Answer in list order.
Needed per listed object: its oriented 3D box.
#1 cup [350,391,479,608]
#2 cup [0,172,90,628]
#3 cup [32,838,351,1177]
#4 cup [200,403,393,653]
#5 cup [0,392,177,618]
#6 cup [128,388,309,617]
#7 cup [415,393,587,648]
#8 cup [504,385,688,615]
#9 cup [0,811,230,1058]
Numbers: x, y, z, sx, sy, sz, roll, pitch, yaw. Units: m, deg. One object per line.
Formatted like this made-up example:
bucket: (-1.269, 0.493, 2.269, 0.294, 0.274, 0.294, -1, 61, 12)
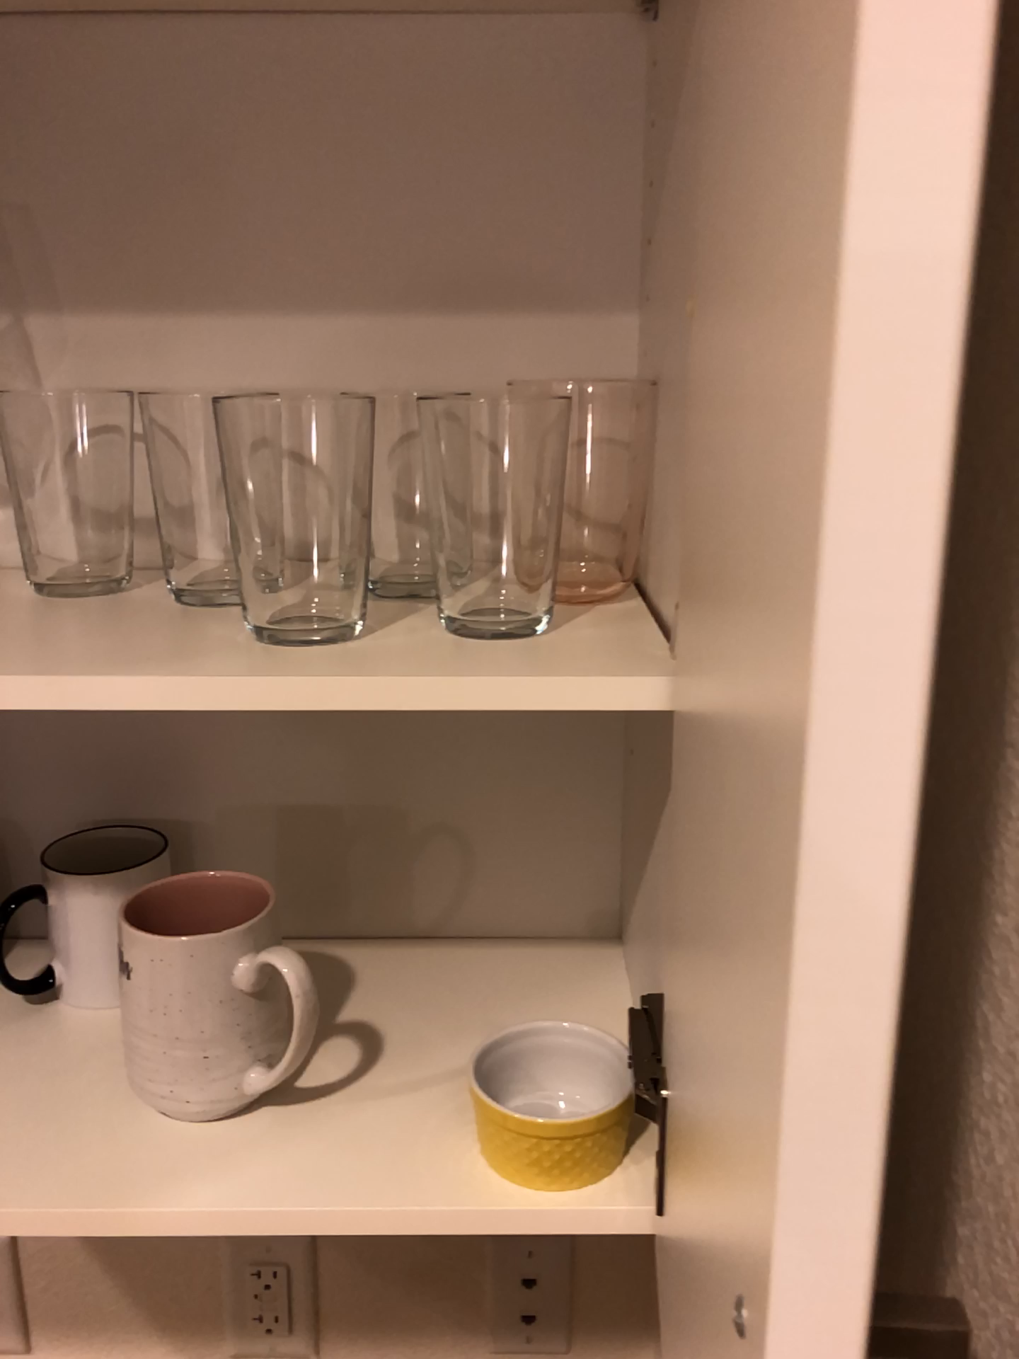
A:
cup: (-0.056, -0.110, 0.670, 0.070, 0.120, 0.080, -1, 14, -5)
cup: (-0.344, -0.170, 0.705, 0.110, 0.259, 0.090, -1, 14, -5)
cup: (-0.170, 0.167, 0.605, 0.140, 0.110, 0.090, 10, 18, 34)
cup: (-0.099, -0.078, 0.549, 0.080, 0.110, 0.090, -1, 14, -5)
cup: (-0.262, -0.112, 0.702, 0.080, 0.130, 0.090, -1, 14, -5)
cup: (-0.161, -0.104, 0.640, 0.080, 0.120, 0.090, -1, 14, -5)
cup: (-0.006, -0.084, 0.575, 0.080, 0.120, 0.080, 0, 14, 0)
cup: (0.045, -0.106, 0.642, 0.090, 0.120, 0.100, -1, 14, -4)
cup: (-0.270, 0.158, 0.731, 0.090, 0.090, 0.140, 12, 19, 39)
